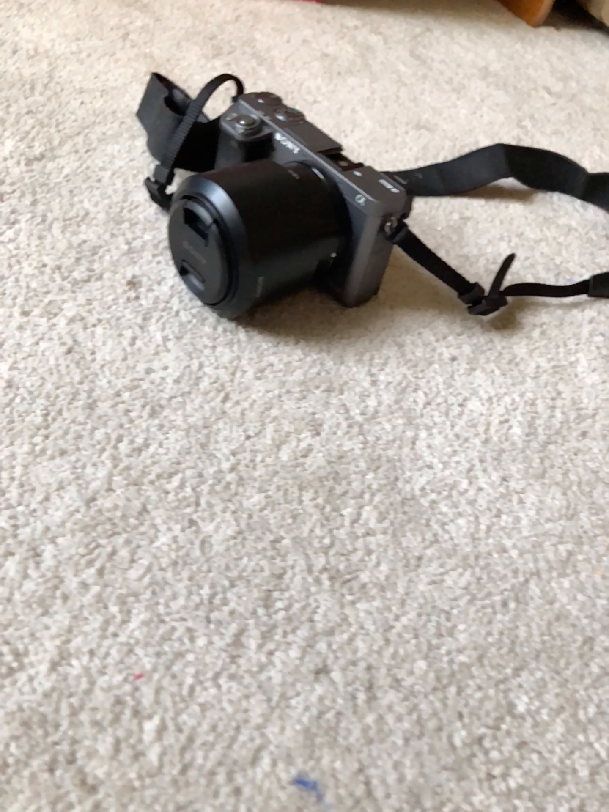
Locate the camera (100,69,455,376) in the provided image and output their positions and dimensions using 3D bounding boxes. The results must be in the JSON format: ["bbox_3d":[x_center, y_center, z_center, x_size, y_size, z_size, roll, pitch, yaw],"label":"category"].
[{"bbox_3d":[-0.019,-0.105,0.357,0.120,0.080,0.130,-27,58,-35],"label":"camera"}]
